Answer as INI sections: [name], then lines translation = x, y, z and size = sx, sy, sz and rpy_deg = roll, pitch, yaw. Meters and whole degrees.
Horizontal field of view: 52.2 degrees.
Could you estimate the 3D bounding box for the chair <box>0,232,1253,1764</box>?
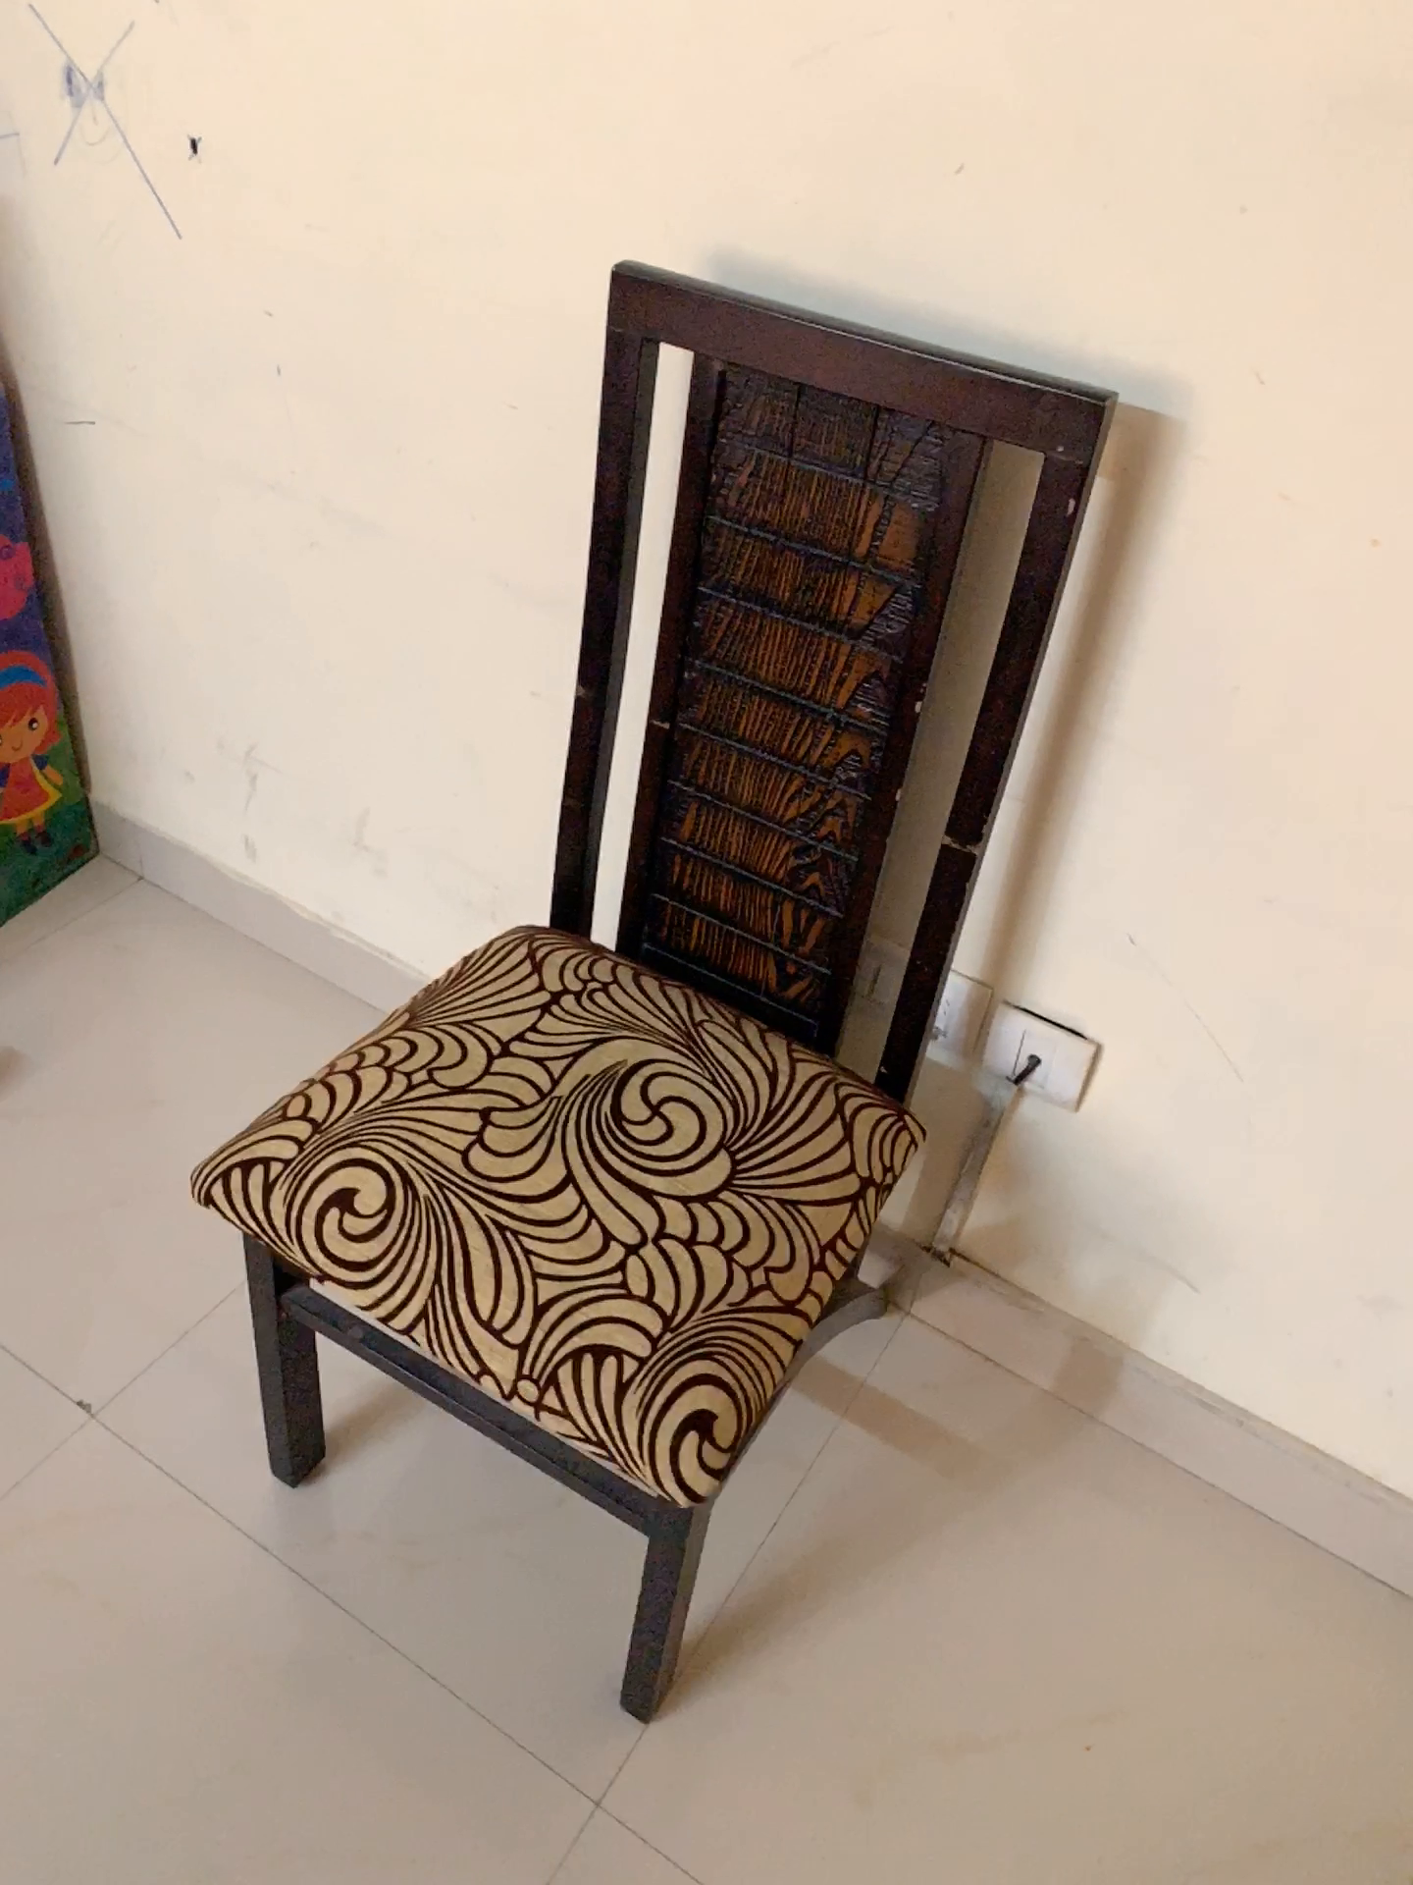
[chair]
translation = -0.050, 0.043, 1.144
size = 0.531, 0.922, 0.584
rpy_deg = 24, 42, 19
